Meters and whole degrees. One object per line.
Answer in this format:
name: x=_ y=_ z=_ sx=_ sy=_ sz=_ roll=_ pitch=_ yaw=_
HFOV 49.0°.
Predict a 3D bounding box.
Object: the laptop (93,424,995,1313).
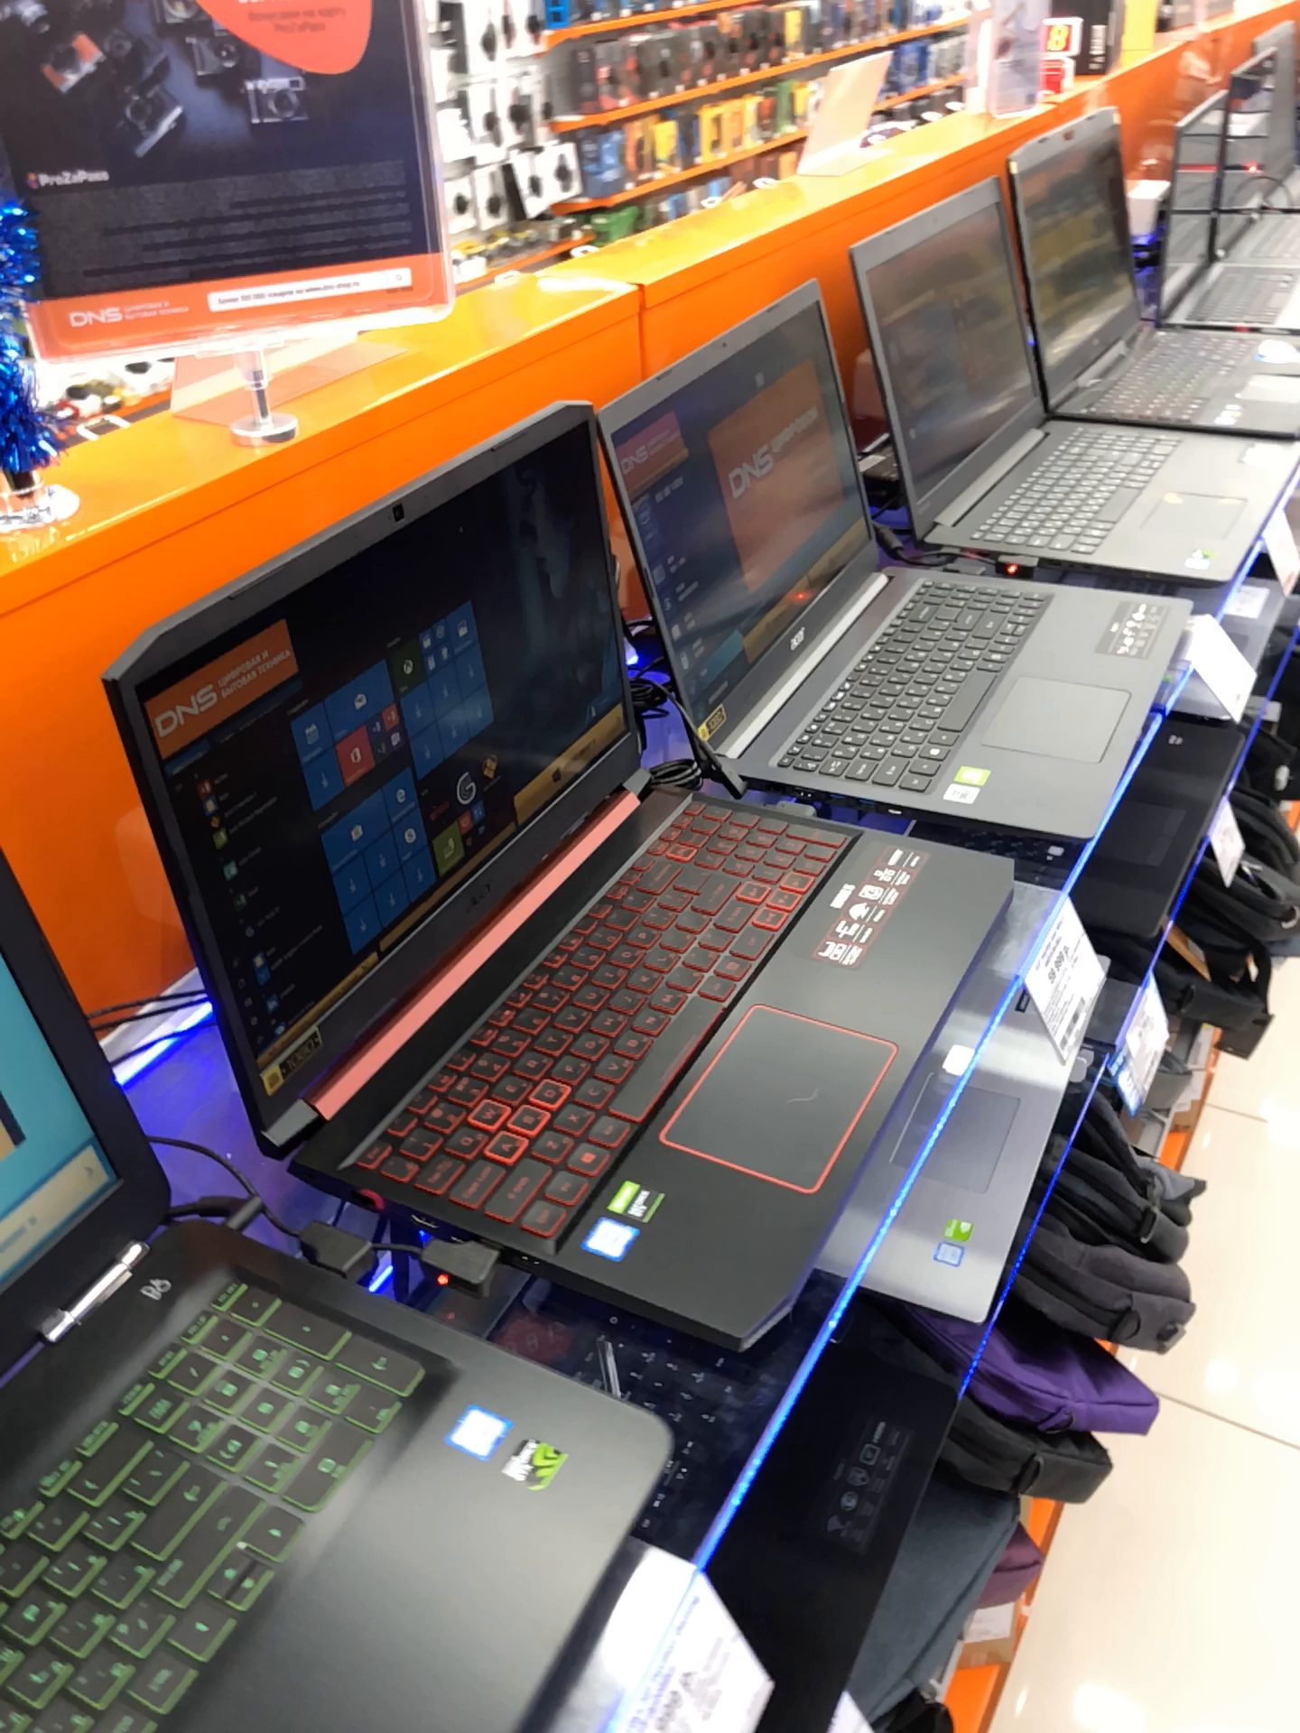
laptop: x=-0.016 y=-0.034 z=0.666 sx=0.251 sy=0.231 sz=0.330 roll=13 pitch=36 yaw=24
